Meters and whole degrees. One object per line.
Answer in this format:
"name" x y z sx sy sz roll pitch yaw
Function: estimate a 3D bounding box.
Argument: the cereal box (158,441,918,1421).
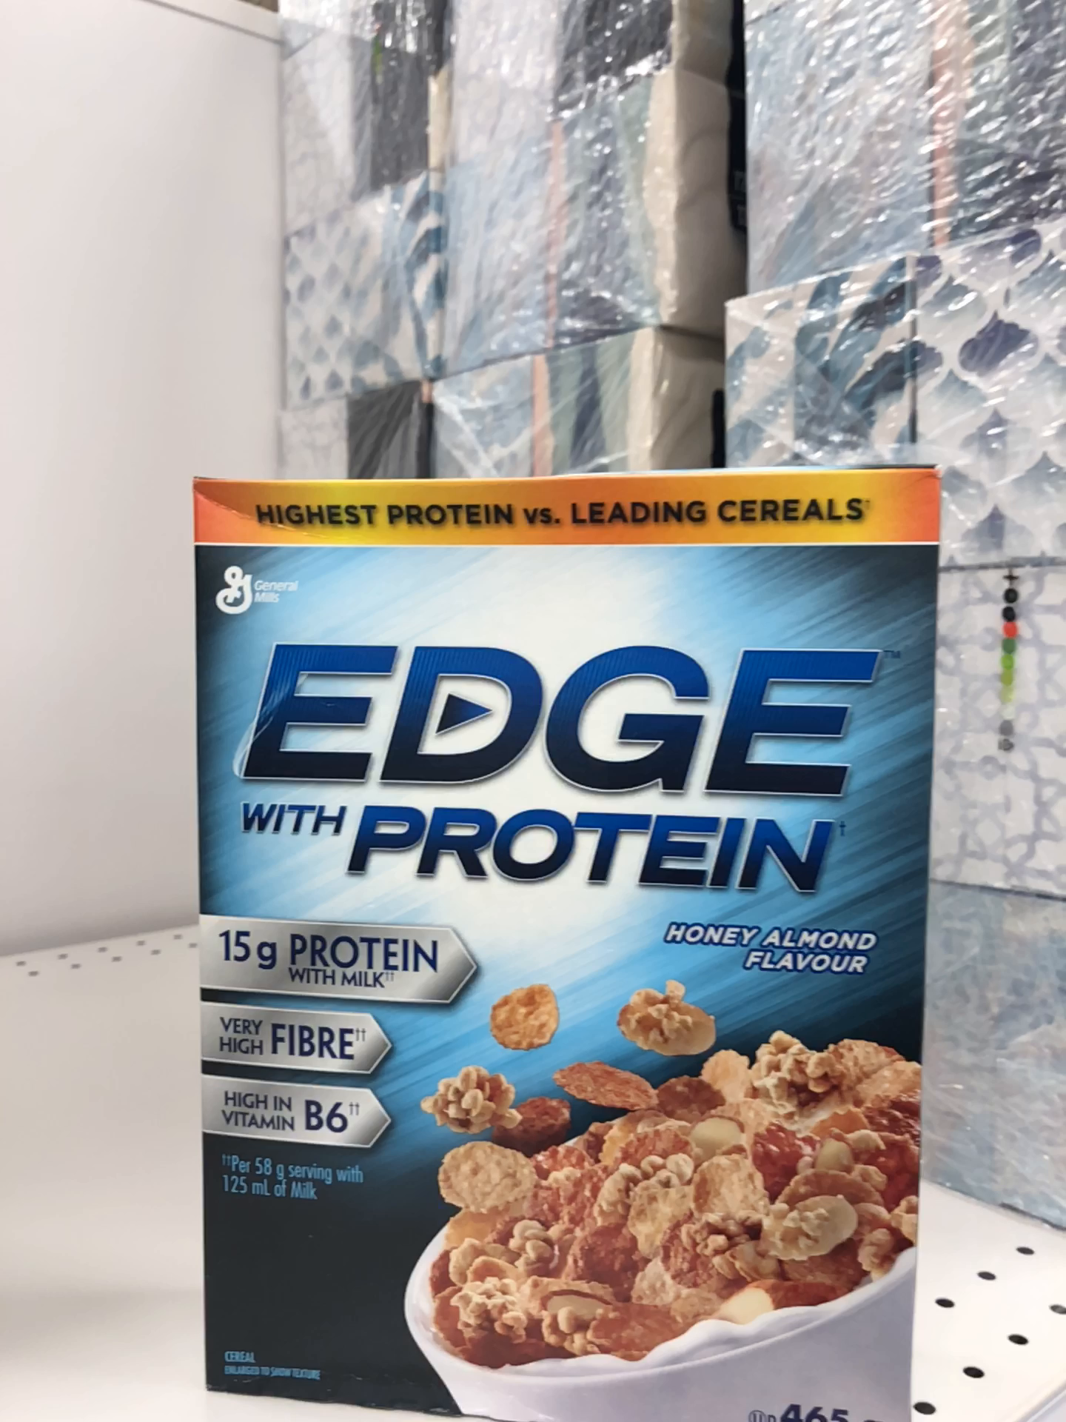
"cereal box" 0.001 0.069 0.346 0.200 0.280 0.050 0 5 8
